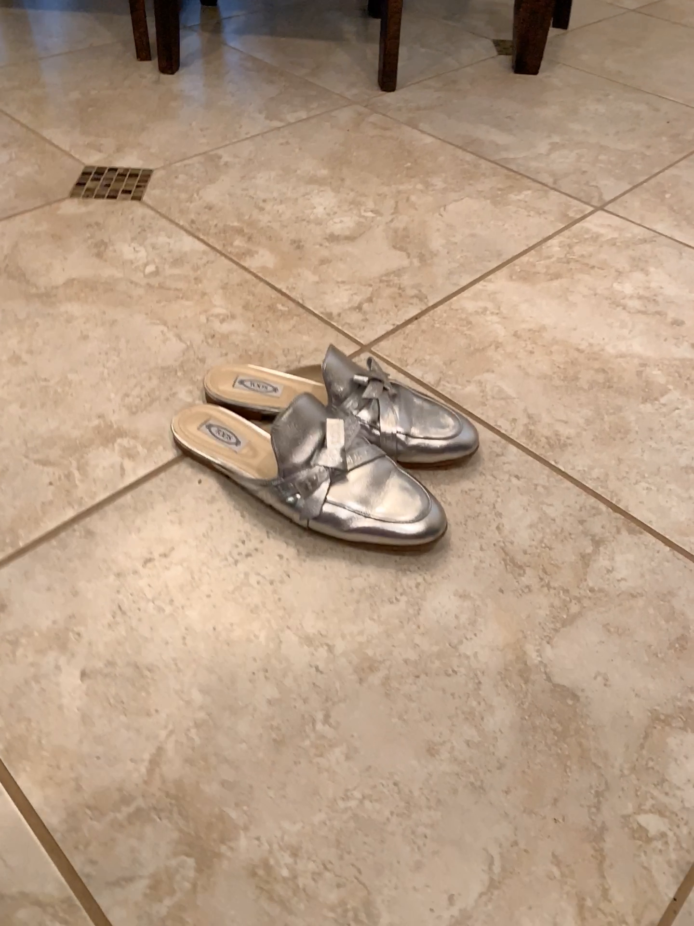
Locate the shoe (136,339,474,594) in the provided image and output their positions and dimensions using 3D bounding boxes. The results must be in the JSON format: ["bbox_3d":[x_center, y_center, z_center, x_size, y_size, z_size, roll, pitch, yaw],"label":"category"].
[{"bbox_3d":[-0.041,-0.005,0.632,0.277,0.077,0.102,25,50,18],"label":"shoe"}]

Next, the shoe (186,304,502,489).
[{"bbox_3d":[-0.003,-0.068,0.688,0.280,0.077,0.092,14,47,9],"label":"shoe"}]
